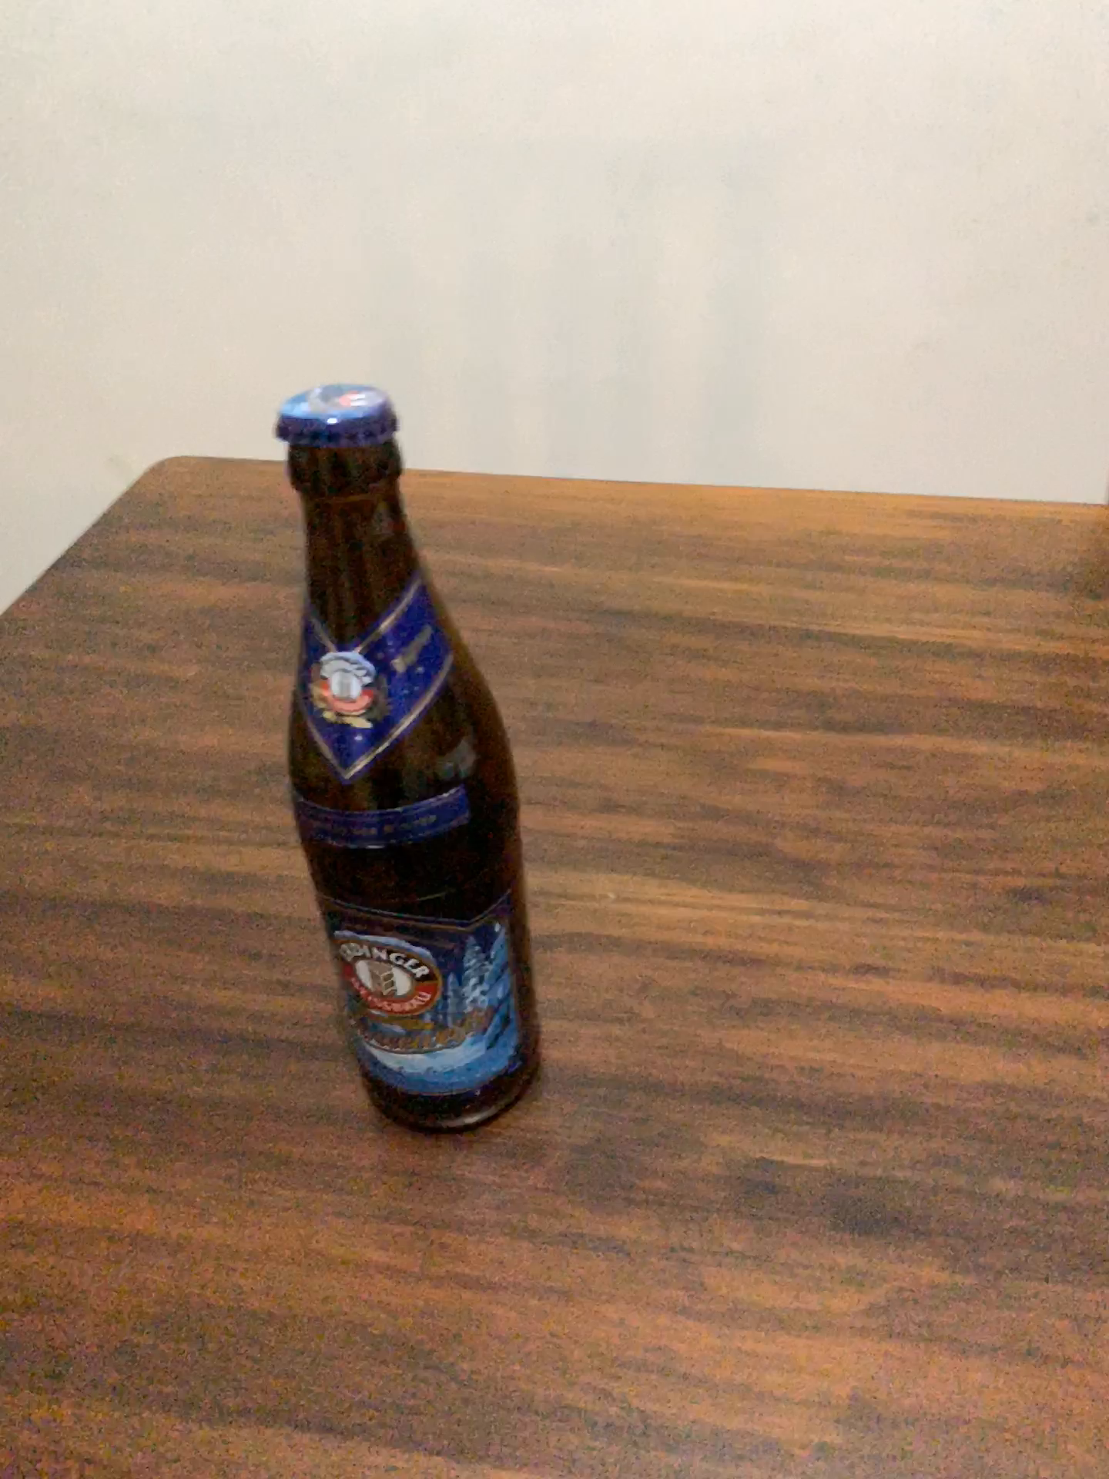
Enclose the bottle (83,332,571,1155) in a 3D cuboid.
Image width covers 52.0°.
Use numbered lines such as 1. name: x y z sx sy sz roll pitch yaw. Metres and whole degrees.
1. bottle: -0.046 0.018 0.335 0.080 0.249 0.070 6 41 11
